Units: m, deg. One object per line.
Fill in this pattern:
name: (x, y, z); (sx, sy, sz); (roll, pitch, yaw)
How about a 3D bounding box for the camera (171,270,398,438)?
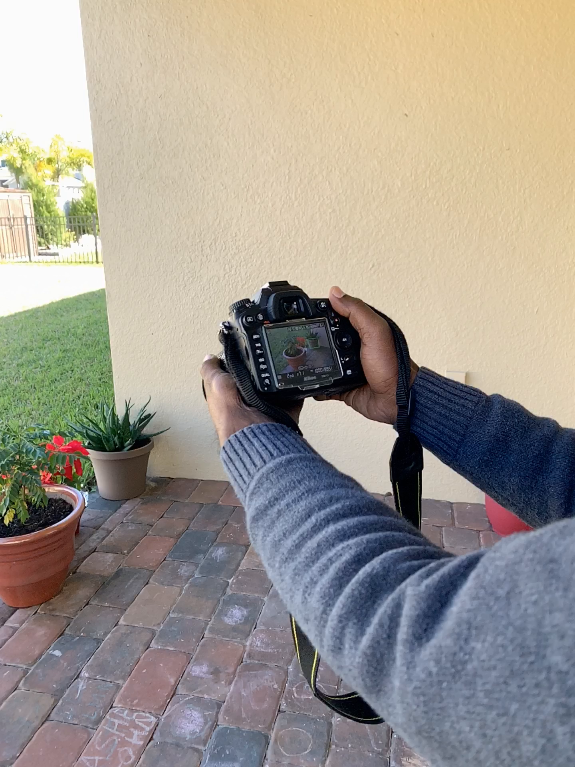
camera: (-0.015, -0.023, 0.586); (0.130, 0.101, 0.199); (-10, -9, -29)
